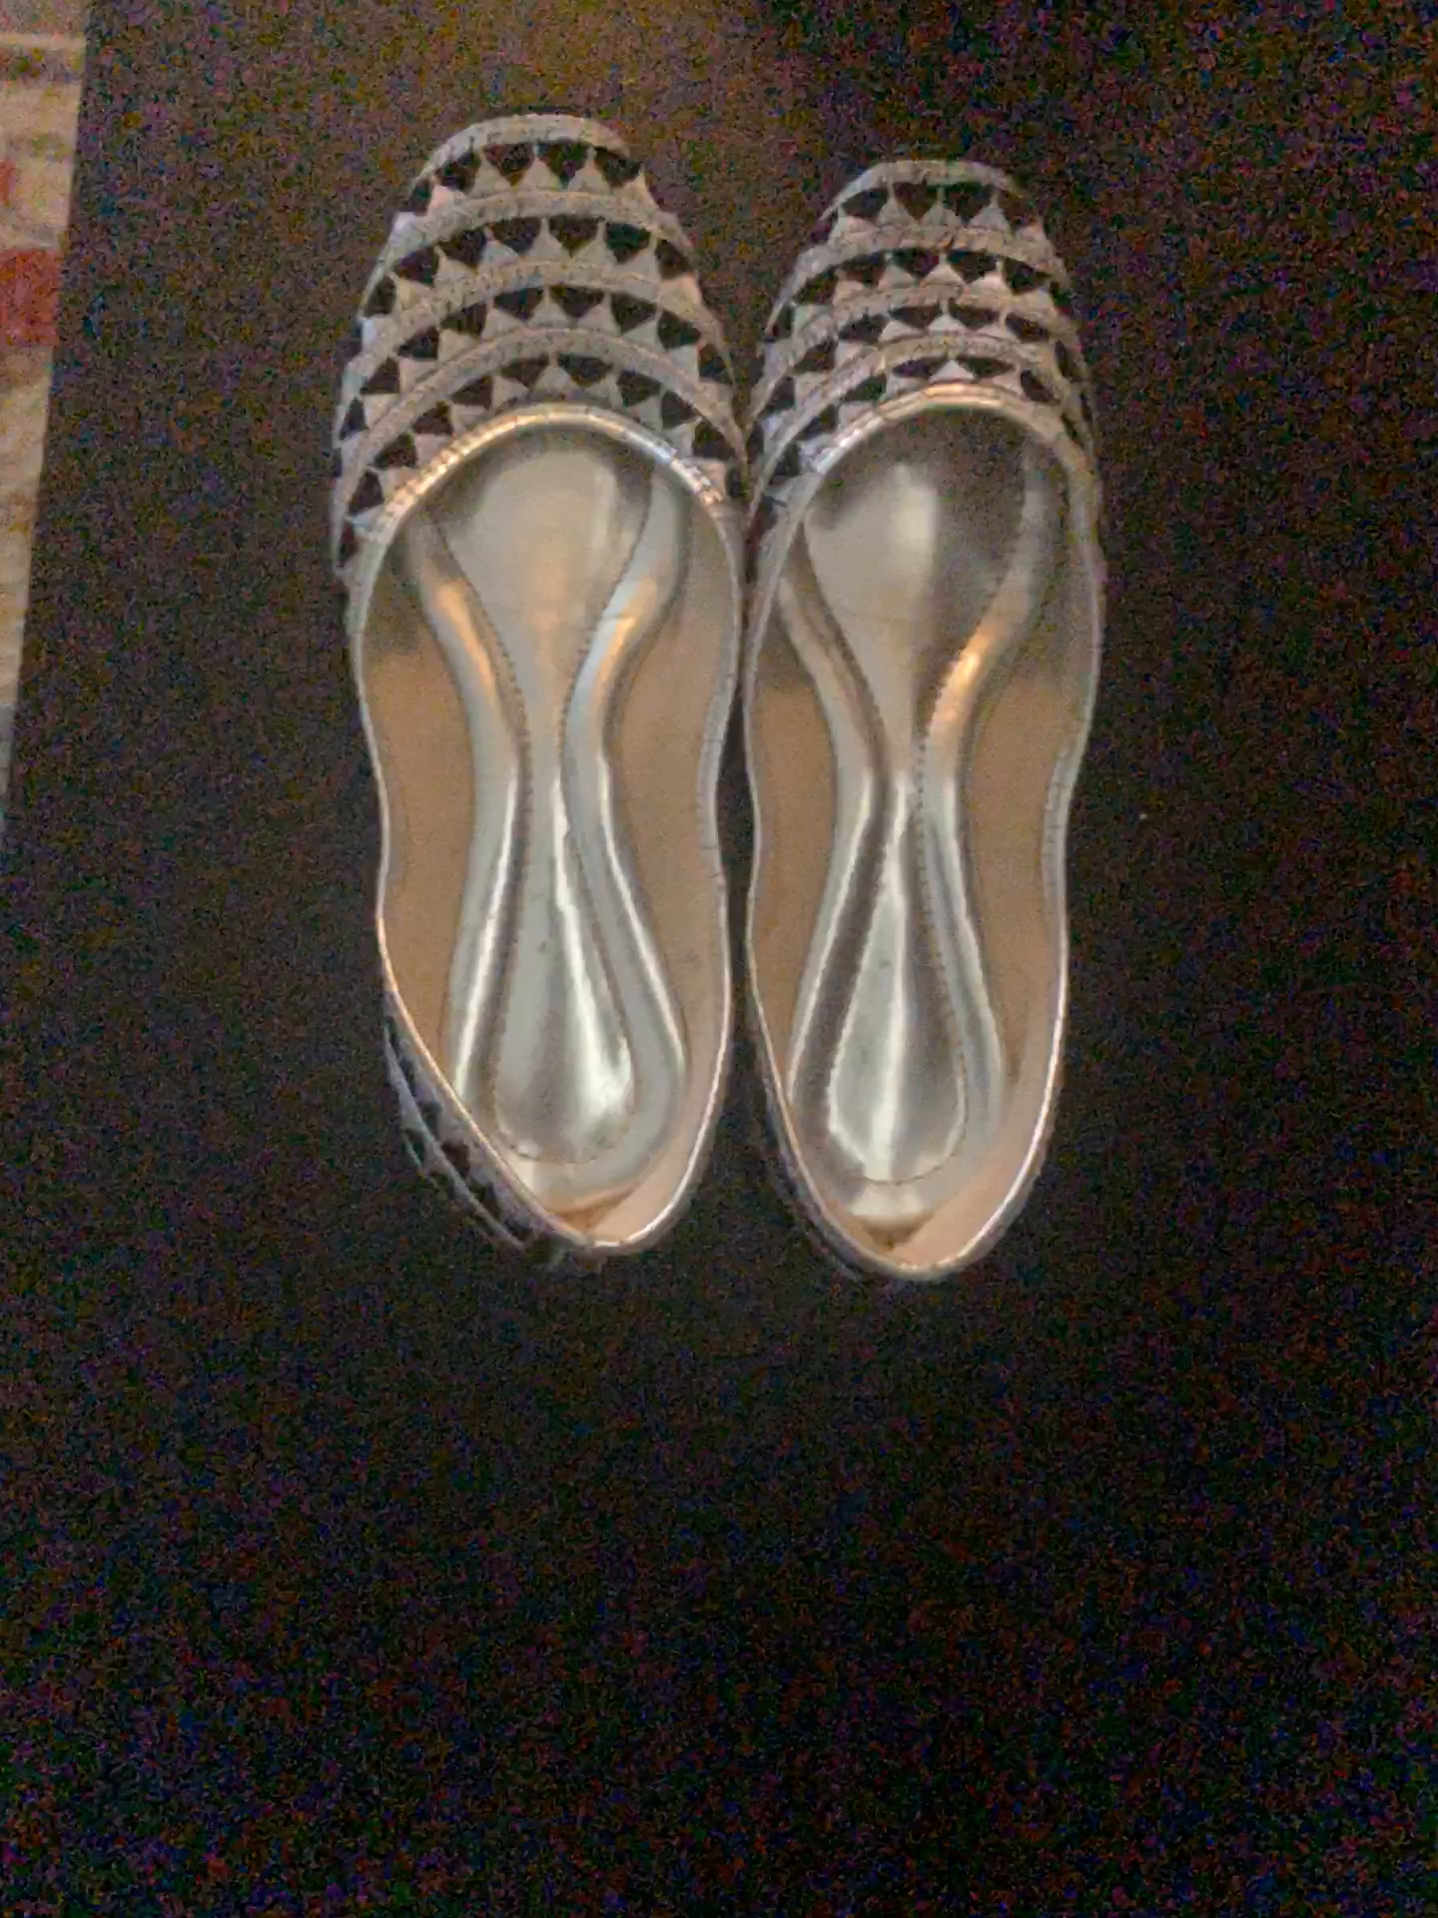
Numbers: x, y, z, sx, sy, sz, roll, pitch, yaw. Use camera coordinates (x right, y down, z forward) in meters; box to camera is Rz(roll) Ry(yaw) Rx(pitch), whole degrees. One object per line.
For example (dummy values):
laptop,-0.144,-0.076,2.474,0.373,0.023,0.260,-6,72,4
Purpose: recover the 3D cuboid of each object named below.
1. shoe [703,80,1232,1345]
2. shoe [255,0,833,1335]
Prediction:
shoe,0.055,-0.052,0.364,0.100,0.080,0.270,2,88,-8
shoe,-0.039,-0.060,0.333,0.100,0.080,0.260,-3,89,-8
